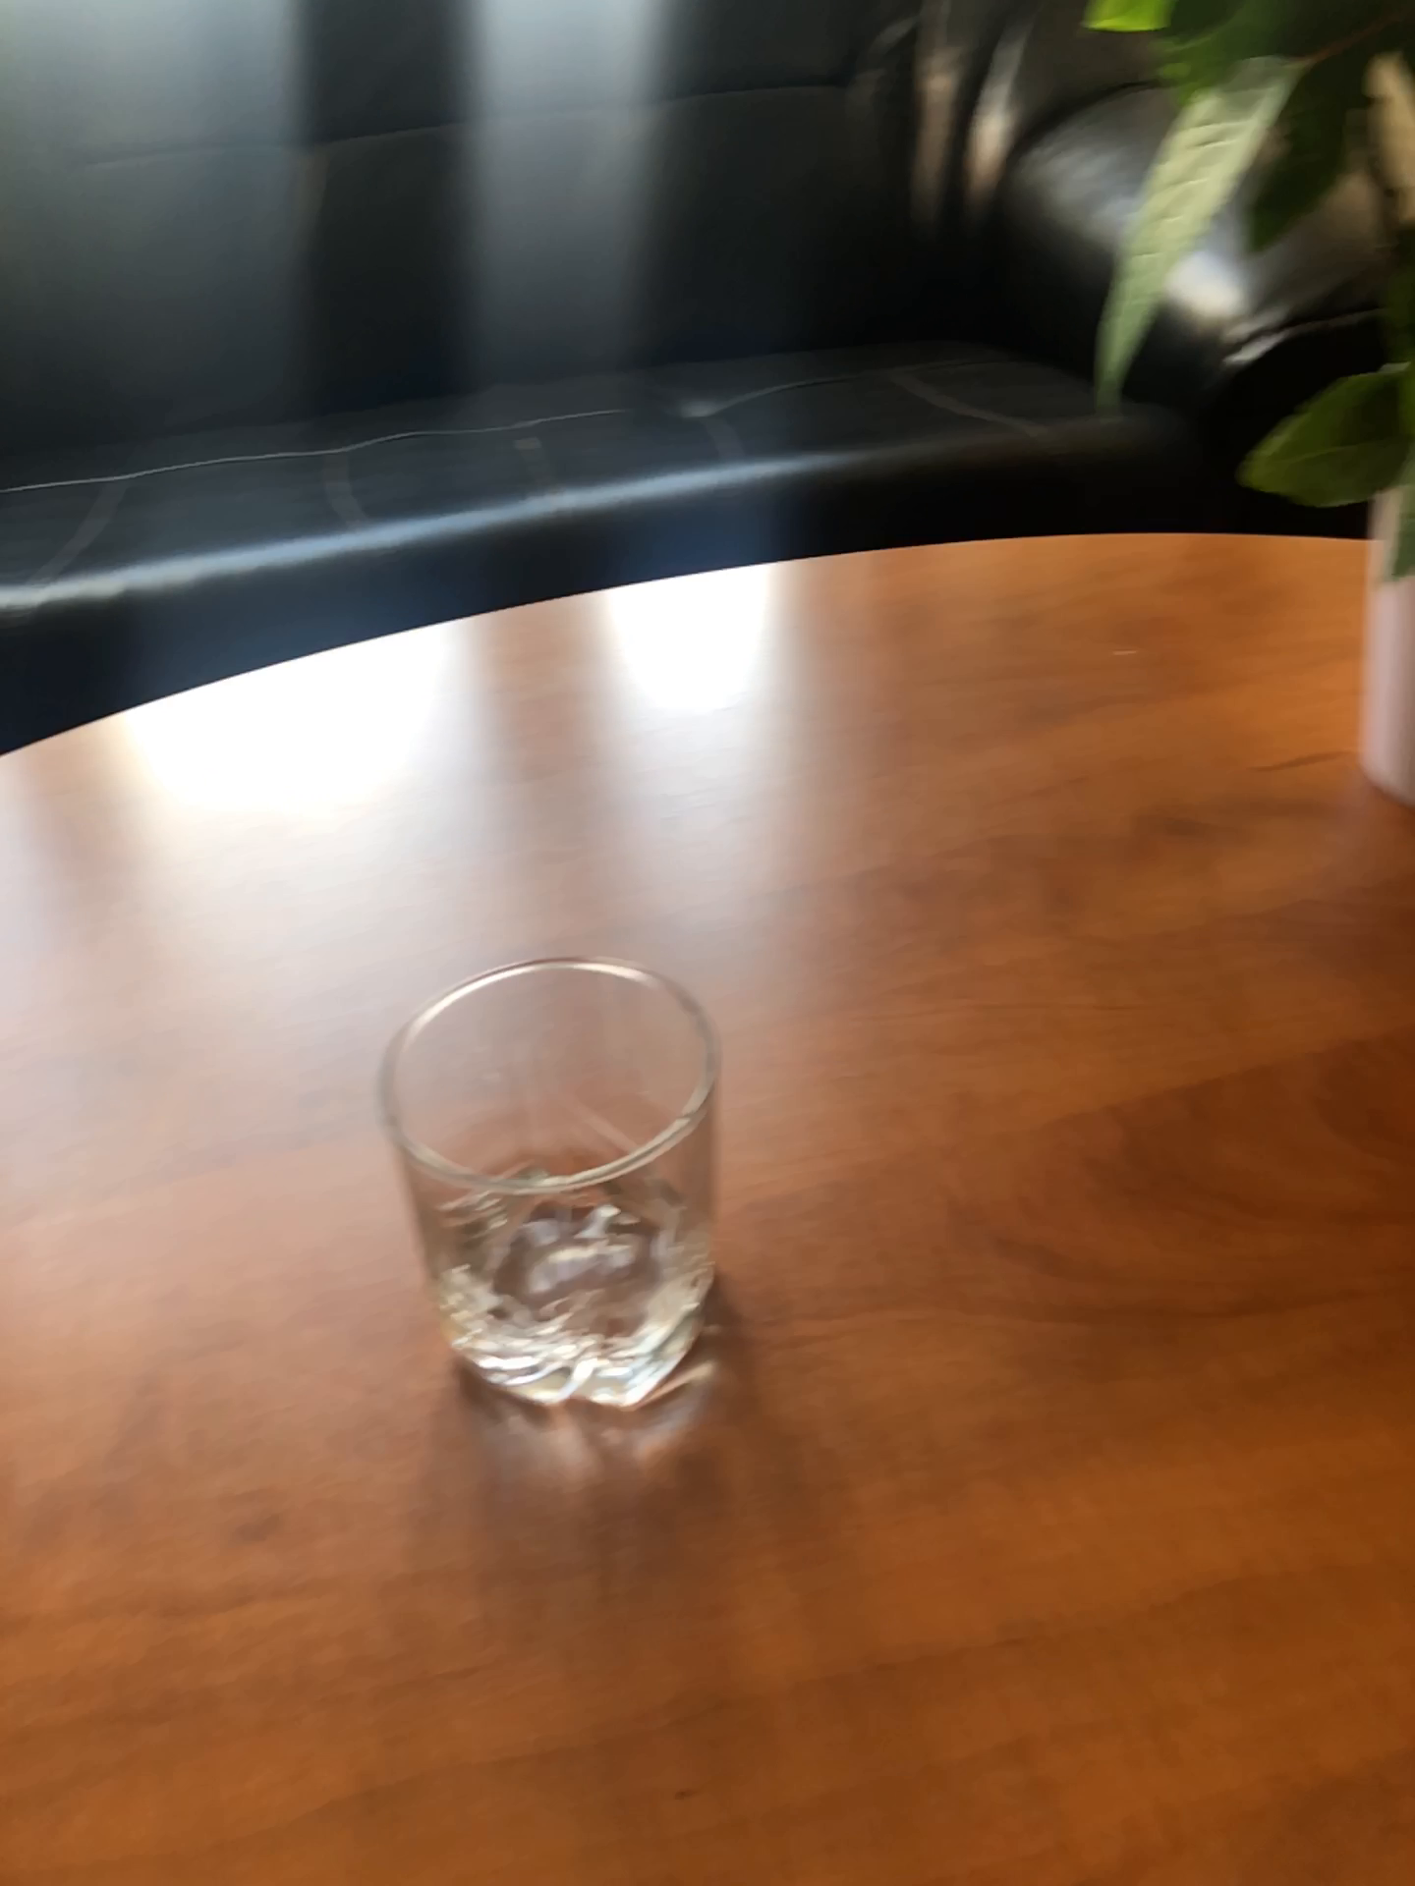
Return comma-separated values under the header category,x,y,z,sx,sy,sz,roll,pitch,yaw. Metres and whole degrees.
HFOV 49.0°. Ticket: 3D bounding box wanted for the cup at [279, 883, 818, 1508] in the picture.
category,x,y,z,sx,sy,sz,roll,pitch,yaw
cup,-0.037,0.058,0.387,0.089,0.086,0.095,-2,37,2
